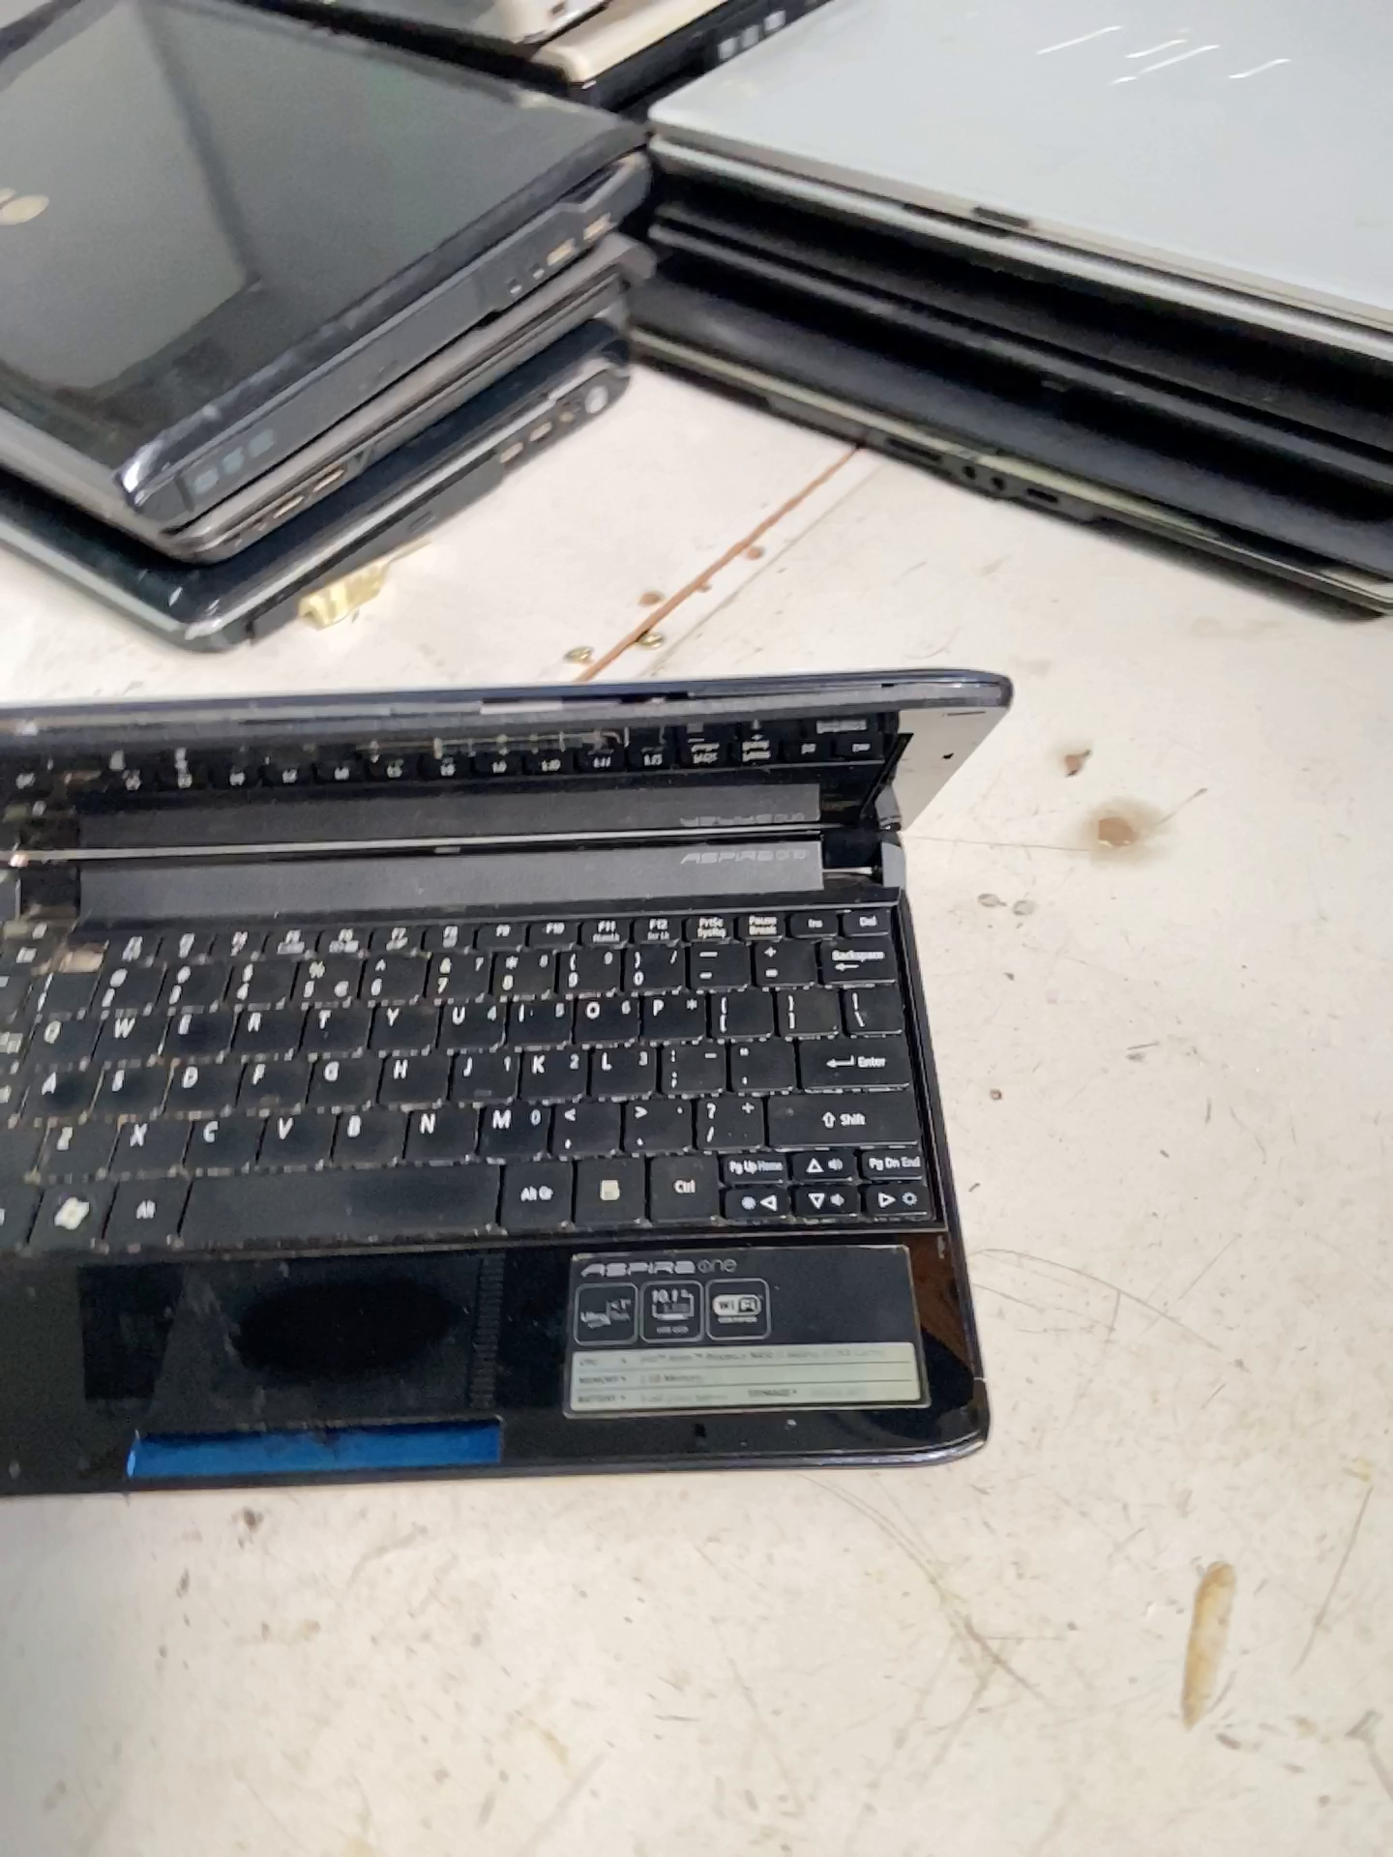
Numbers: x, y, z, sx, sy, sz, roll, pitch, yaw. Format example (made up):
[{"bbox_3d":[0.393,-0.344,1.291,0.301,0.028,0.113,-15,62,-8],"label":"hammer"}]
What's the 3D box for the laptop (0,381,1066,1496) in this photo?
[{"bbox_3d":[-0.070,0.000,0.294,0.244,0.131,0.172,-3,48,2],"label":"laptop"}]
